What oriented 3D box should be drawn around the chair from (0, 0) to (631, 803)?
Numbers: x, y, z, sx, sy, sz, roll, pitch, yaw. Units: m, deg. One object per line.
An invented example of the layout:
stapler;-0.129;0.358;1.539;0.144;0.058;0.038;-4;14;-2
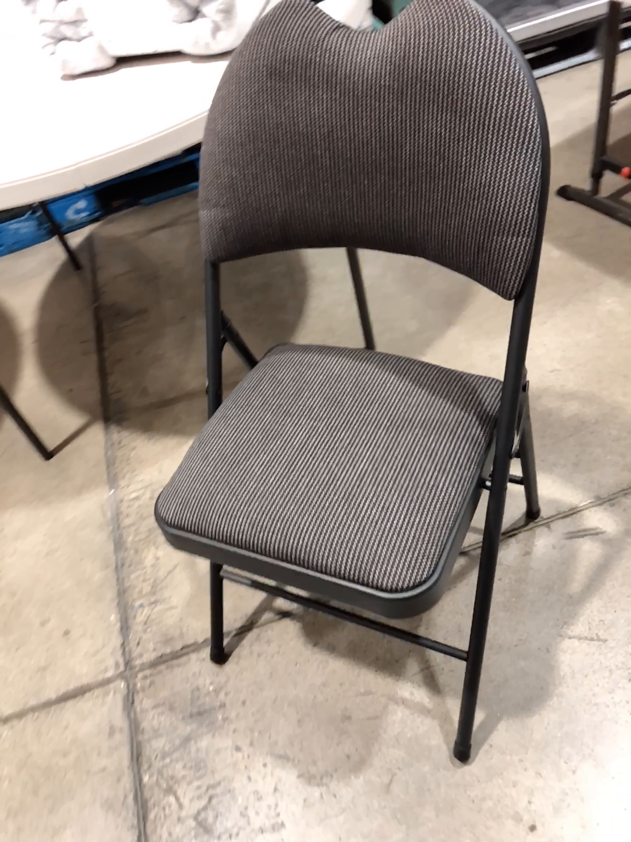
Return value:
chair;0.058;-0.019;0.901;0.511;0.857;0.561;14;54;26
